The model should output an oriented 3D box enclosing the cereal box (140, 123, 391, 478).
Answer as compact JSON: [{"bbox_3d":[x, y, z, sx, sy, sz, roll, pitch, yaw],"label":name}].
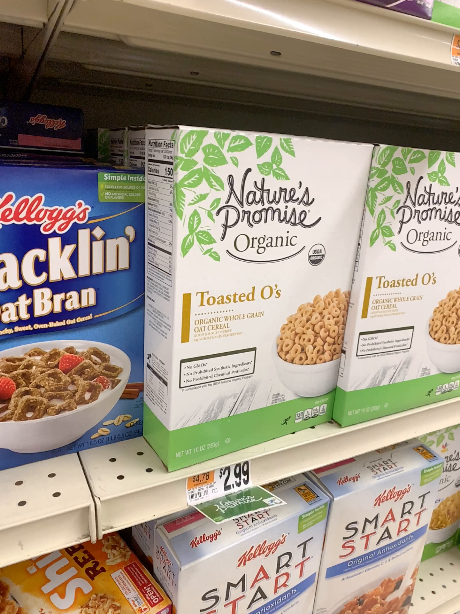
[{"bbox_3d":[0.026,-0.011,0.417,0.190,0.269,0.070,-7,22,-31],"label":"cereal box"}]
